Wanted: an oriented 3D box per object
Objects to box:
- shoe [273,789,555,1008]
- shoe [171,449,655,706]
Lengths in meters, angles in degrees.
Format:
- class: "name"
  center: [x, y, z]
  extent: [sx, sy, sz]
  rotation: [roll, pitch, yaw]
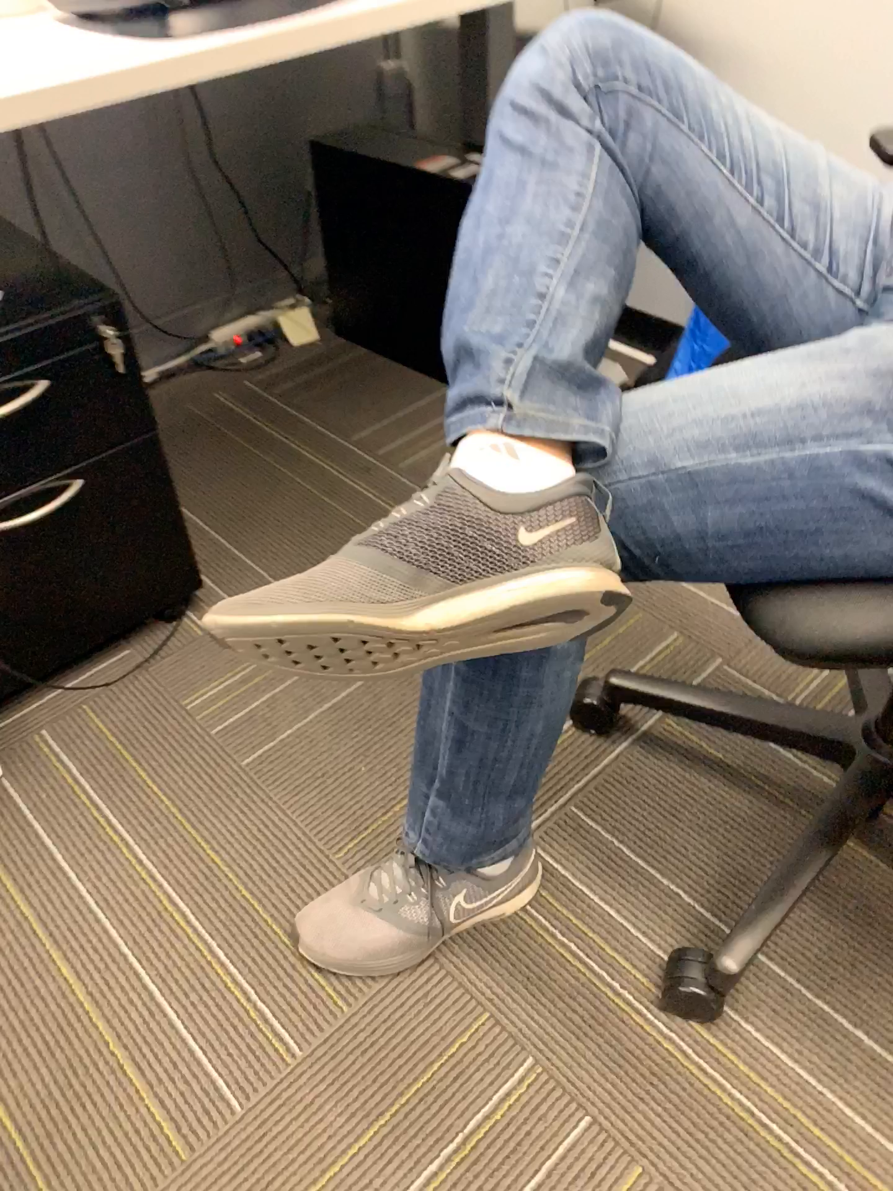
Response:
- class: "shoe"
  center: [-0.034, 0.336, 1.031]
  extent: [0.287, 0.092, 0.114]
  rotation: [-17, 45, -14]
- class: "shoe"
  center: [-0.019, -0.013, 0.646]
  extent: [0.295, 0.120, 0.134]
  rotation: [0, 46, 1]
